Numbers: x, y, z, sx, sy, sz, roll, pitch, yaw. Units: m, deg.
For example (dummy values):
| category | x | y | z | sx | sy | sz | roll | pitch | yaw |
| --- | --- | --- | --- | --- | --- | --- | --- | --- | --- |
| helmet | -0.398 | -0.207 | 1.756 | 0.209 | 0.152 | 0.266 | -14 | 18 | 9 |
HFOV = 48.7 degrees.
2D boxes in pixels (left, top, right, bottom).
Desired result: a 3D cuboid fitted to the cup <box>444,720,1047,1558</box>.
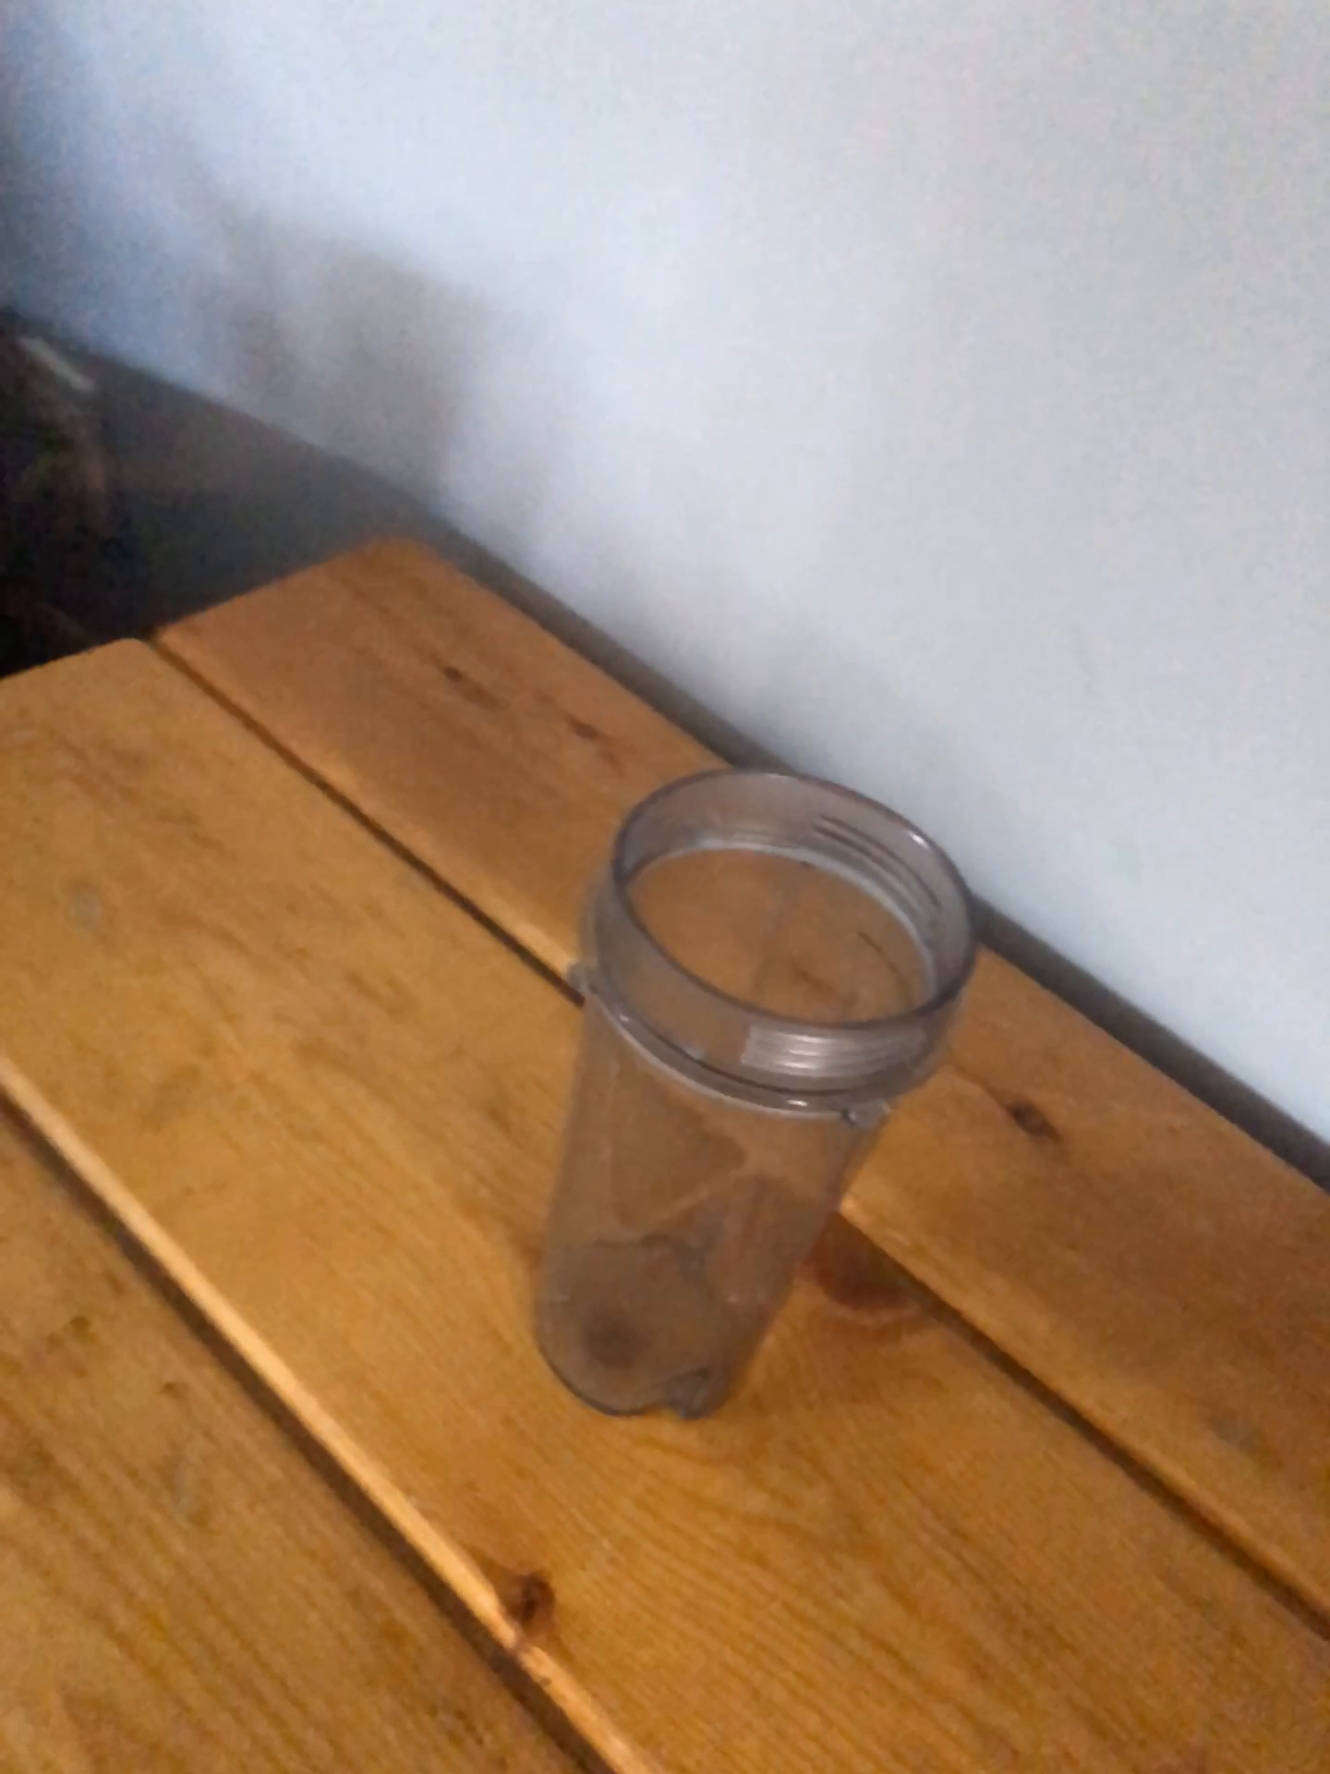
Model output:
| category | x | y | z | sx | sy | sz | roll | pitch | yaw |
| --- | --- | --- | --- | --- | --- | --- | --- | --- | --- |
| cup | 0.011 | 0.070 | 0.371 | 0.080 | 0.189 | 0.090 | 30 | 46 | 17 |
